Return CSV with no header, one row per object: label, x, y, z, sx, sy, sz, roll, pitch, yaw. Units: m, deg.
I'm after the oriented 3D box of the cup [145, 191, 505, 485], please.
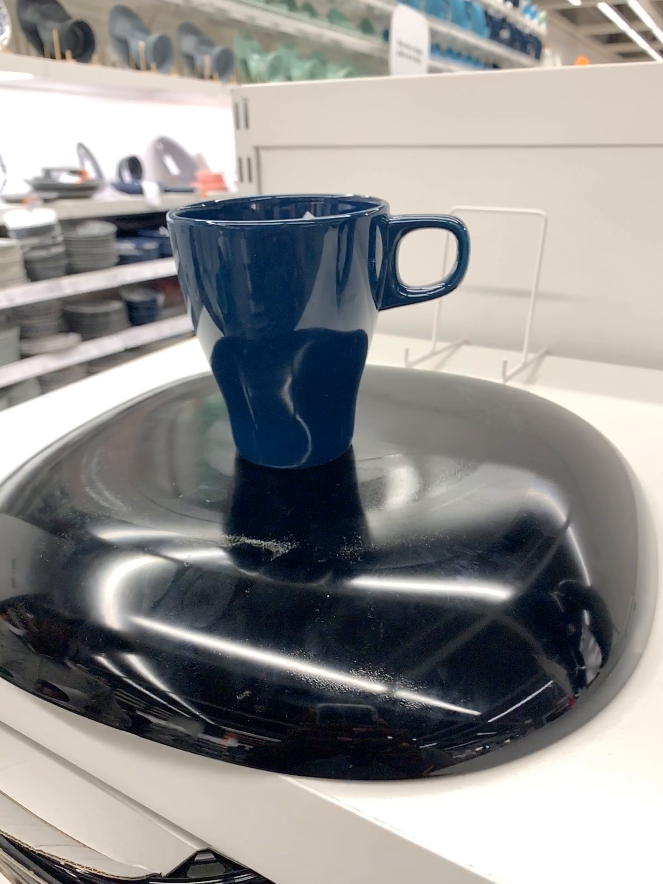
cup,-0.005,-0.050,0.289,0.120,0.100,0.090,-3,22,-6
